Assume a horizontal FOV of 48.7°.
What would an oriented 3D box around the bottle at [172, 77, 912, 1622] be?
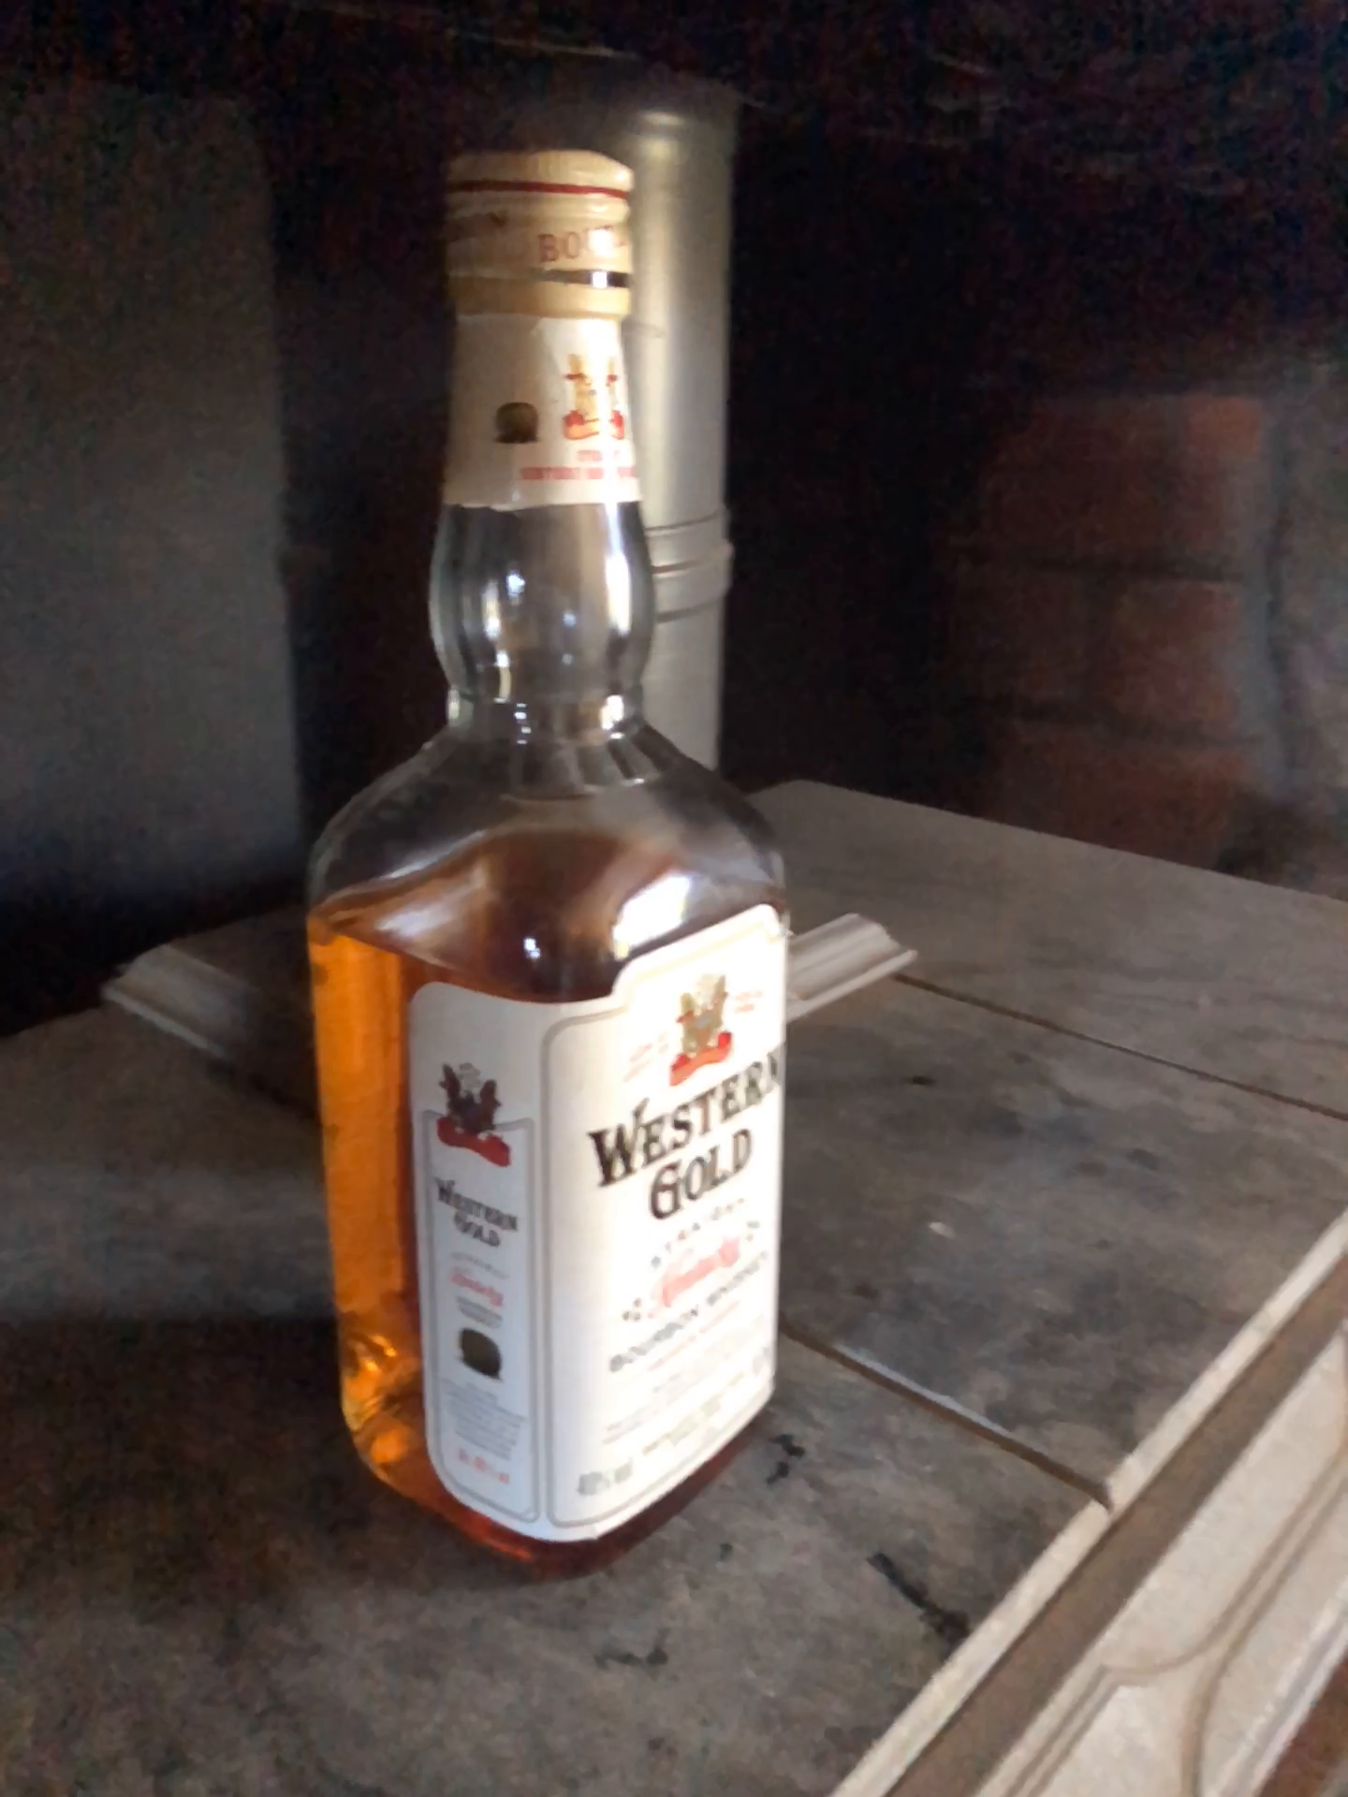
[{"bbox_3d":[-0.019,-0.007,0.285,0.080,0.249,0.091,16,25,37],"label":"bottle"}]
